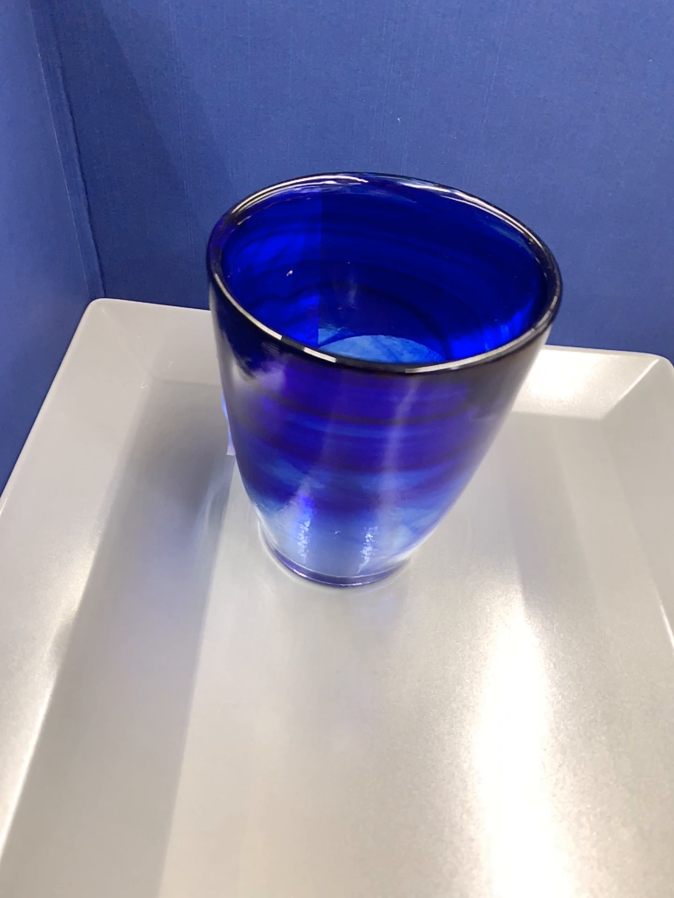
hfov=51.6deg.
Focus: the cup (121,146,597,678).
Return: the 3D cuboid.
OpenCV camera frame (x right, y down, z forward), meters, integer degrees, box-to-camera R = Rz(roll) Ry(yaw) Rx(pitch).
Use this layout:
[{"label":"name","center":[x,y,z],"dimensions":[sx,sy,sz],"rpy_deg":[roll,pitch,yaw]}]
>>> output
[{"label":"cup","center":[0.003,-0.013,0.213],"dimensions":[0.082,0.111,0.088],"rpy_deg":[3,44,-3]}]
